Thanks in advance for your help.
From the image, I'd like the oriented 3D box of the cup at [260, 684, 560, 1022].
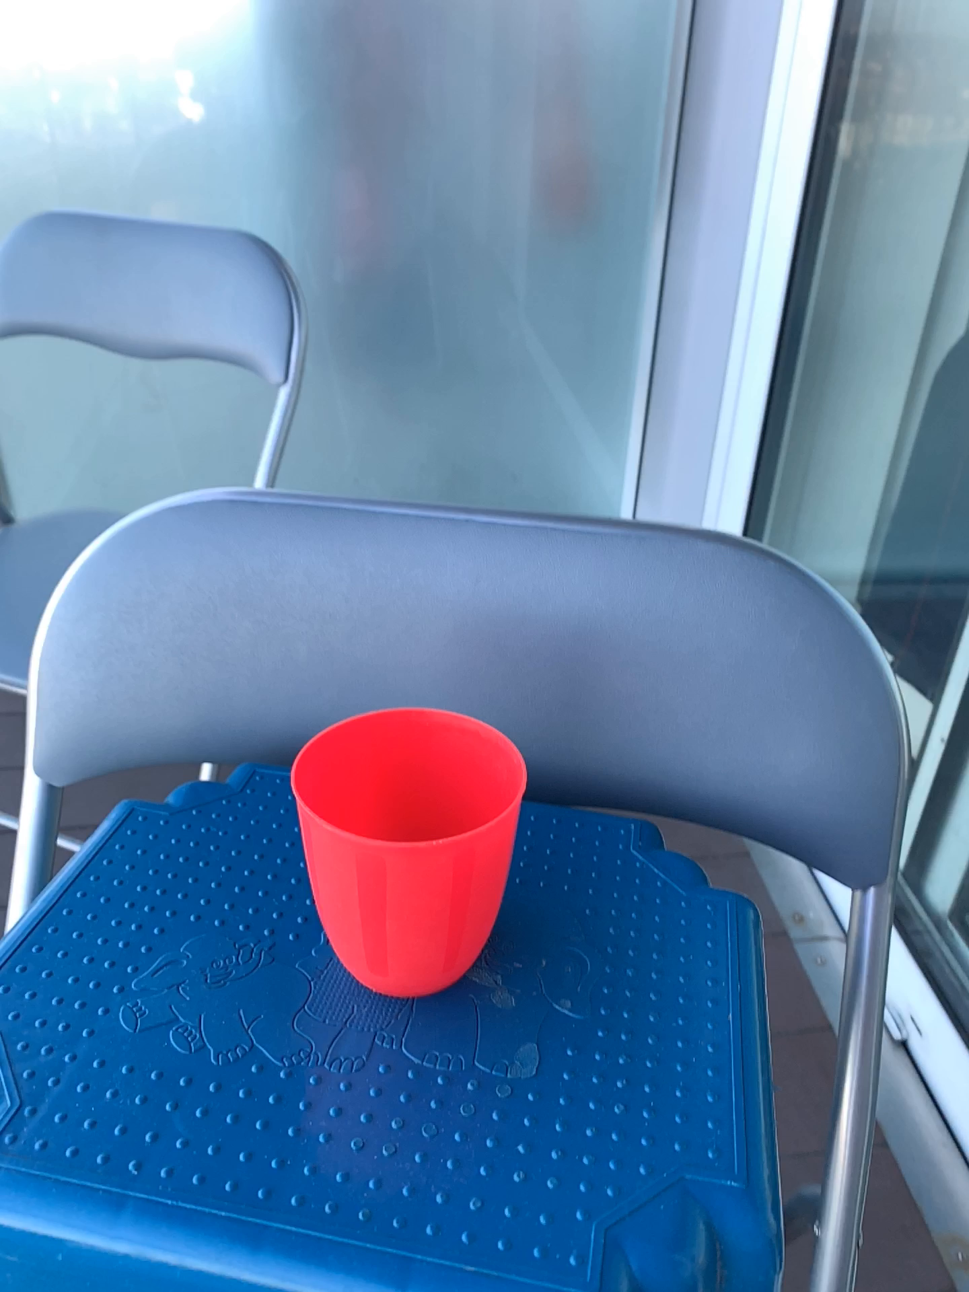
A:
[{"bbox_3d":[-0.023,0.072,0.361,0.086,0.077,0.074,7,32,9],"label":"cup"}]
